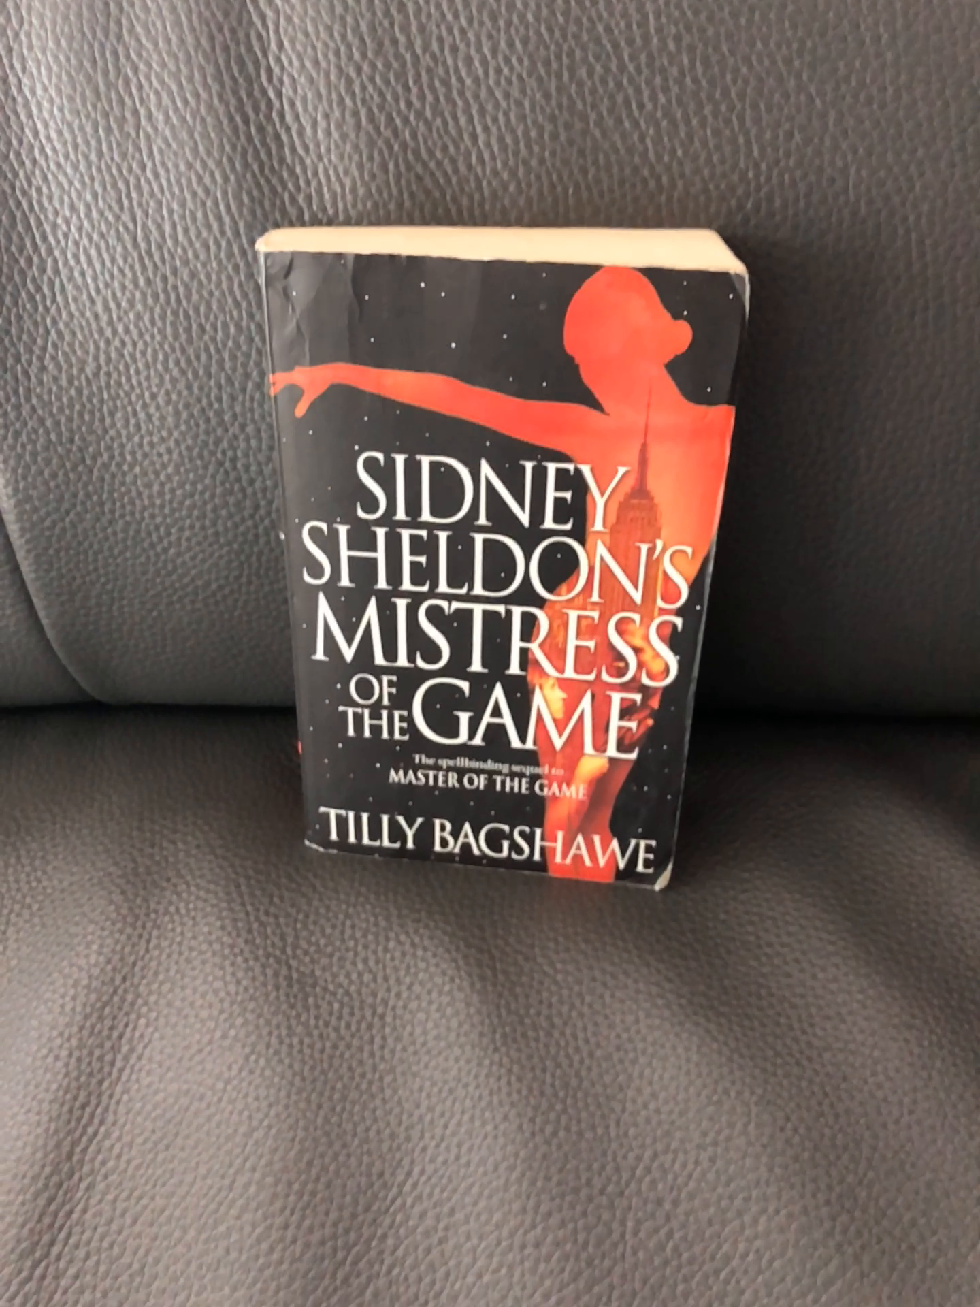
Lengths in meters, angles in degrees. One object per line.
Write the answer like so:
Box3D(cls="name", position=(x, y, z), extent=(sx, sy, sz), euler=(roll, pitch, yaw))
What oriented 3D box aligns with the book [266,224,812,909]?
Box3D(cls="book", position=(0.012, -0.018, 0.303), extent=(0.118, 0.179, 0.046), euler=(5, 32, 7))
